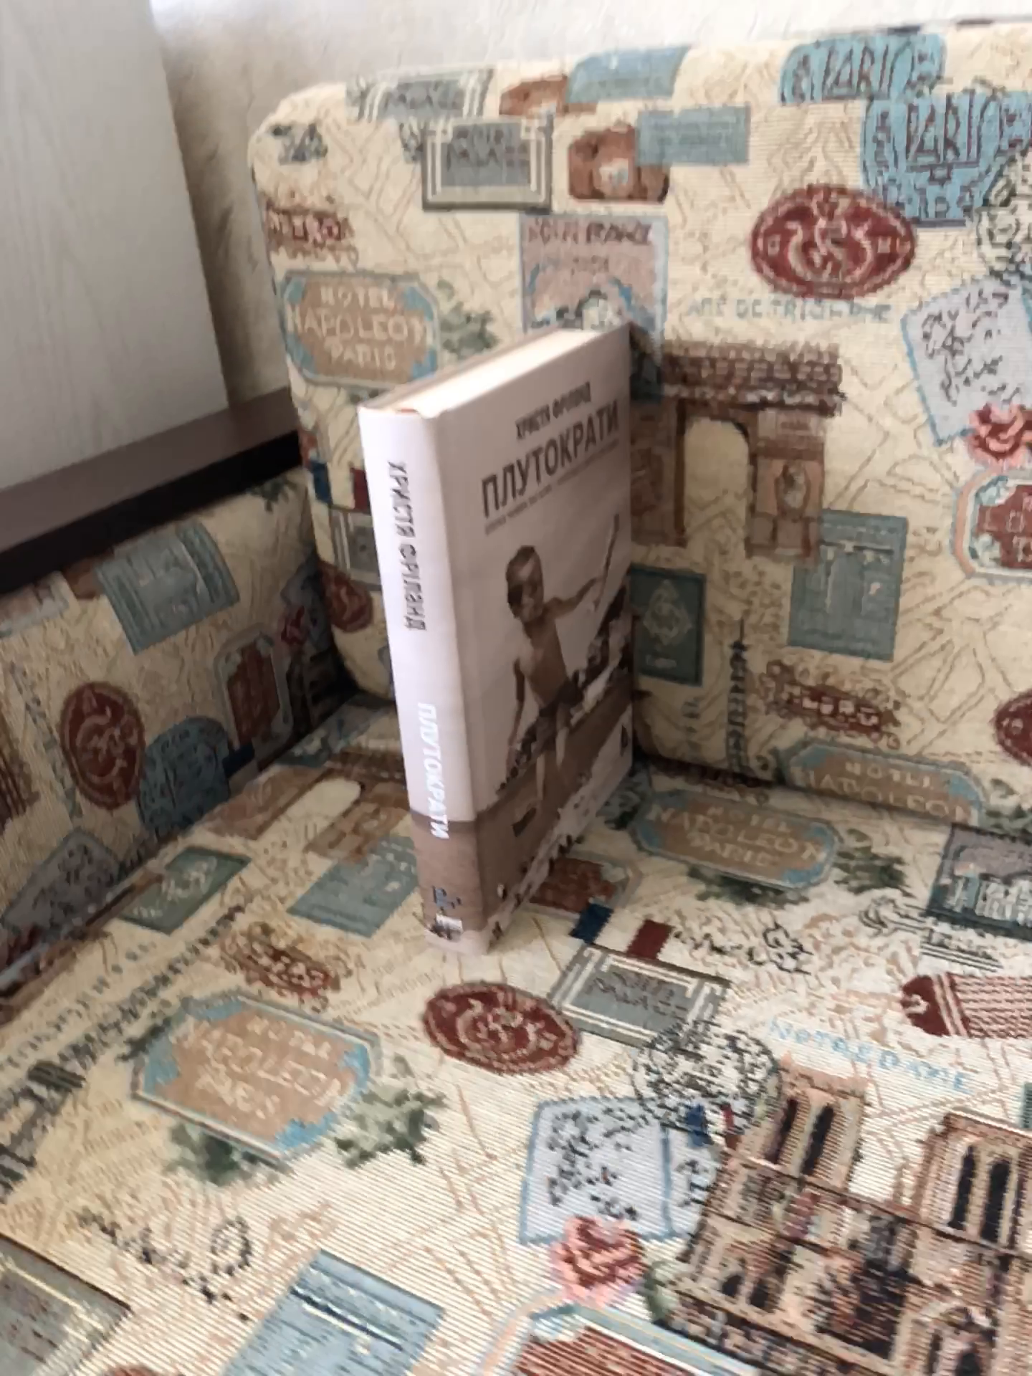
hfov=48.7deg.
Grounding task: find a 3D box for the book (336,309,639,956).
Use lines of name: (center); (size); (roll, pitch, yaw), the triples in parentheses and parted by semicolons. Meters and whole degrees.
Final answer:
book: (0.002, -0.028, 0.466); (0.036, 0.215, 0.158); (11, 31, 26)
